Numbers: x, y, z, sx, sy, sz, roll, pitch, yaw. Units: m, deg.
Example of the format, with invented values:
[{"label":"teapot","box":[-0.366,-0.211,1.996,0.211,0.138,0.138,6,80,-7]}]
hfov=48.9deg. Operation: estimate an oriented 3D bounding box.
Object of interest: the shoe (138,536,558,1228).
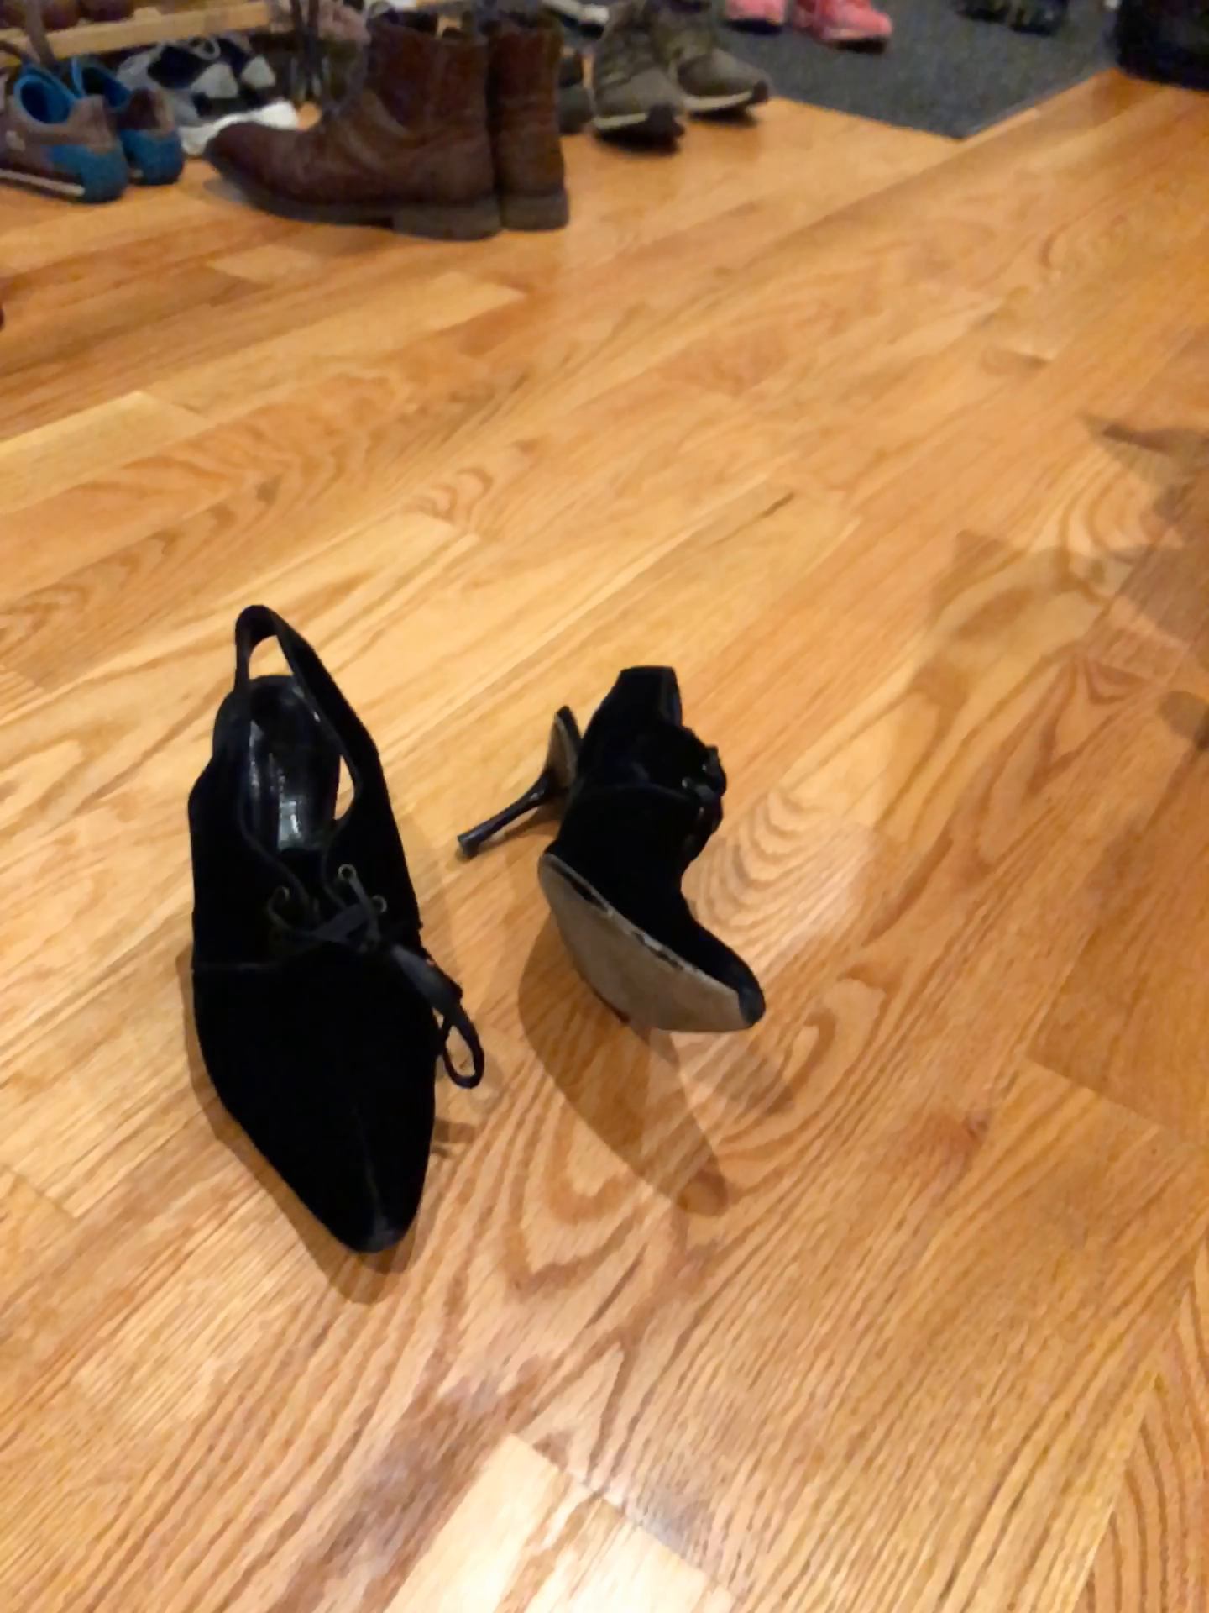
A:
[{"label":"shoe","box":[-0.110,0.011,0.521,0.107,0.117,0.253,-9,41,-17]}]

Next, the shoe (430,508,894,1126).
[{"label":"shoe","box":[0.005,-0.013,0.550,0.118,0.106,0.253,-6,41,-13]}]
